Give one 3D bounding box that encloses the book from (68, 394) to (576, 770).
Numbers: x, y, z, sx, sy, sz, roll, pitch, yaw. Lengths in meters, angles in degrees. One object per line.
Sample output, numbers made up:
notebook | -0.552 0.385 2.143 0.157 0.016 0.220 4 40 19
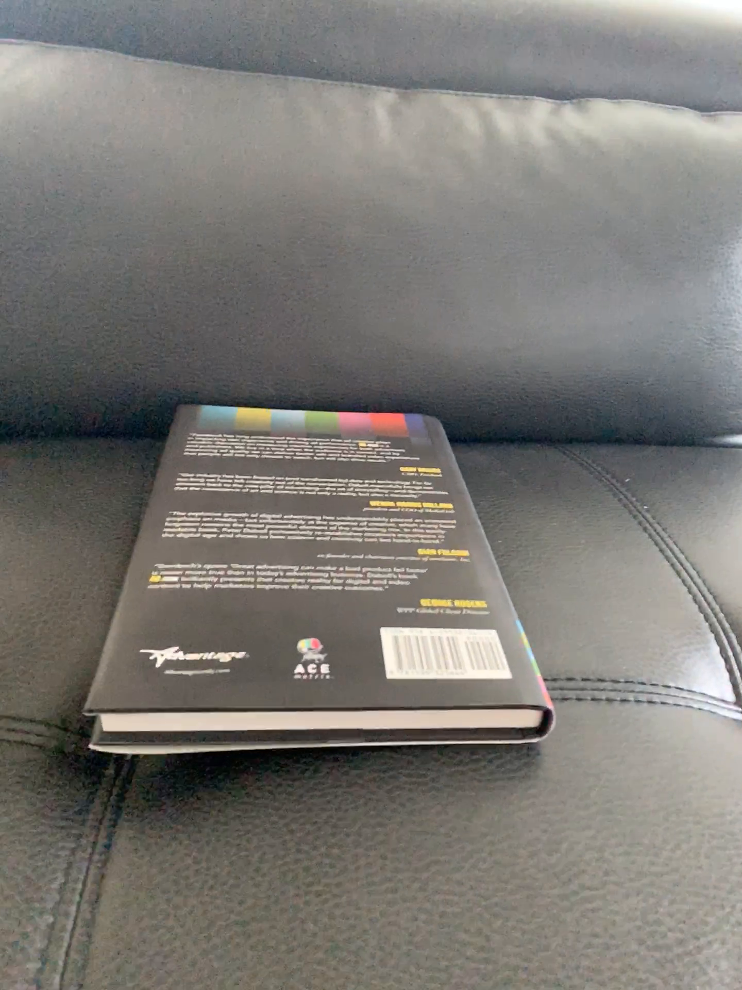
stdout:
book | -0.024 0.017 0.350 0.160 0.030 0.238 1 30 -7
